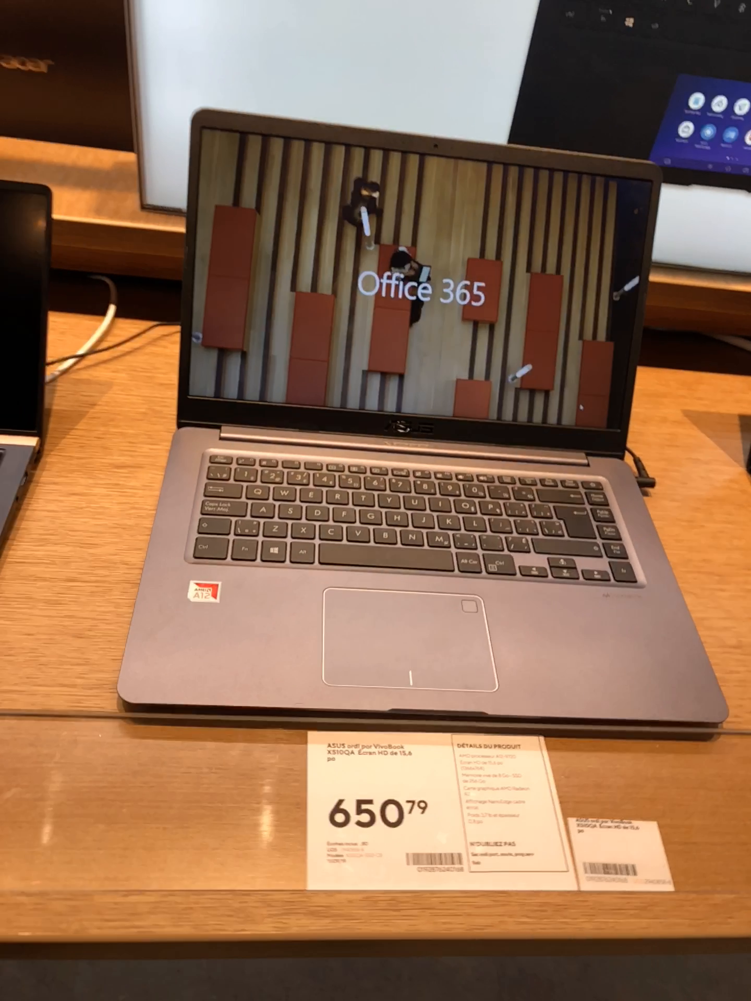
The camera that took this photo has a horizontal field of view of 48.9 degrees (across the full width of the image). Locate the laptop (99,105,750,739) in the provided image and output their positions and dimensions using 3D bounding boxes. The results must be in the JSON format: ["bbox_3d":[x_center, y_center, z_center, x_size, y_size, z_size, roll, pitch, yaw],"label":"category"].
[{"bbox_3d":[0.046,-0.073,0.543,0.352,0.177,0.392,4,44,-7],"label":"laptop"}]
